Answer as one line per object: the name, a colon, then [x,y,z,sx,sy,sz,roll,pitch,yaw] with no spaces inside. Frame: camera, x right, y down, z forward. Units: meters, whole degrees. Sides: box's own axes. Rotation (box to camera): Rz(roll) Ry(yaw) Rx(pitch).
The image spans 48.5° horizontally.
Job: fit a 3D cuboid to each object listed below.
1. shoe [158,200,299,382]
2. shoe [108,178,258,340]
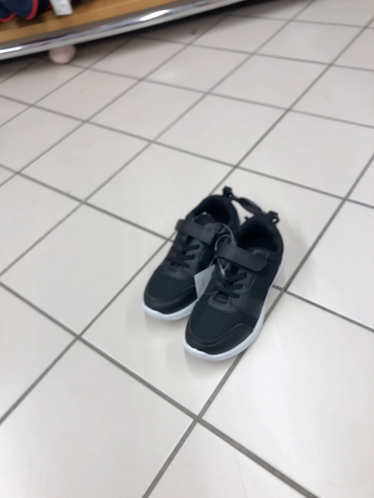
shoe: [0.063,0.042,0.537,0.097,0.064,0.223,14,53,24]
shoe: [0.004,0.003,0.585,0.097,0.064,0.223,21,56,28]
